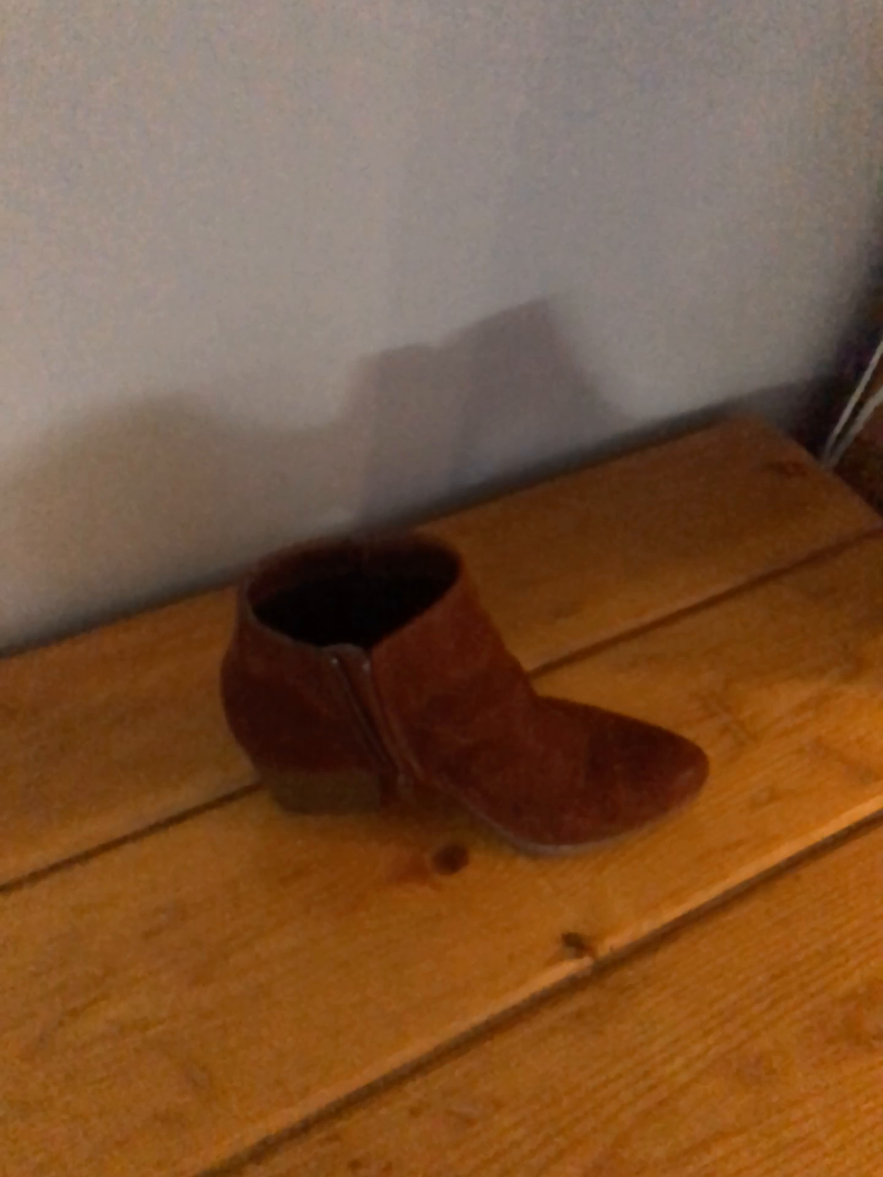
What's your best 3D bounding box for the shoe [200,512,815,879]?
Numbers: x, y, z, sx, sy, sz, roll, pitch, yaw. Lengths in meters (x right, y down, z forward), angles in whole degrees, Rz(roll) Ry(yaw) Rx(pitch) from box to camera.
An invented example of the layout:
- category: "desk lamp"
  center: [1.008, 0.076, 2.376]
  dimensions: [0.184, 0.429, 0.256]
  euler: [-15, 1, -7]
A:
- category: "shoe"
  center: [0.025, 0.057, 0.484]
  dimensions: [0.250, 0.150, 0.090]
  euler: [4, 48, 0]
